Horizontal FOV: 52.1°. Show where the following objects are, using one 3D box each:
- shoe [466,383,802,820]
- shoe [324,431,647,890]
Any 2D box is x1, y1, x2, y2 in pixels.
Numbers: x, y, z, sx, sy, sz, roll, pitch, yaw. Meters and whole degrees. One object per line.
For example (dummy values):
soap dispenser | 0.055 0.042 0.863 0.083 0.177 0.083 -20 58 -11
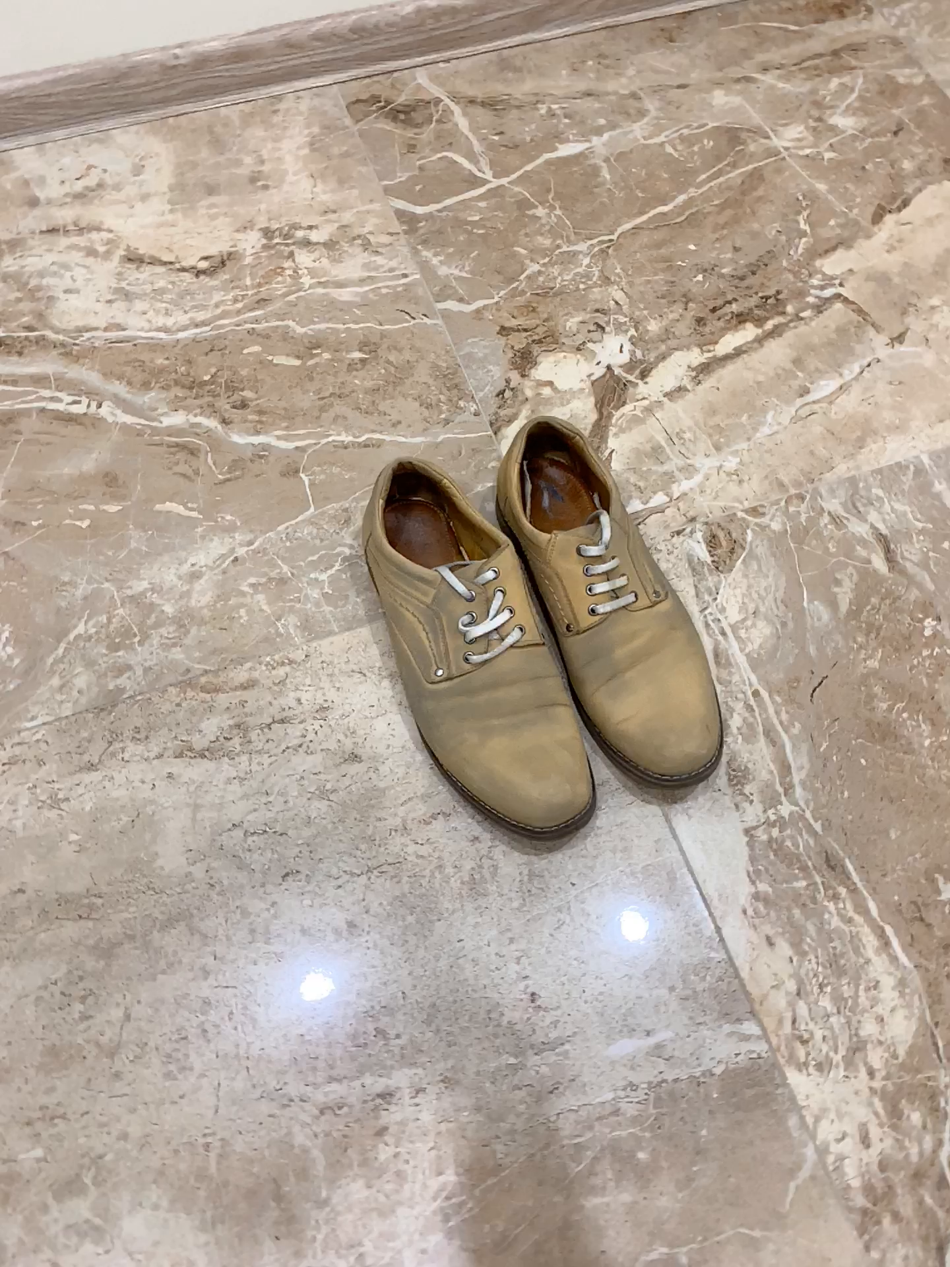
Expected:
shoe | 0.097 -0.029 0.669 0.110 0.070 0.281 -18 68 -11
shoe | -0.002 0.012 0.653 0.110 0.080 0.281 -18 68 -11
